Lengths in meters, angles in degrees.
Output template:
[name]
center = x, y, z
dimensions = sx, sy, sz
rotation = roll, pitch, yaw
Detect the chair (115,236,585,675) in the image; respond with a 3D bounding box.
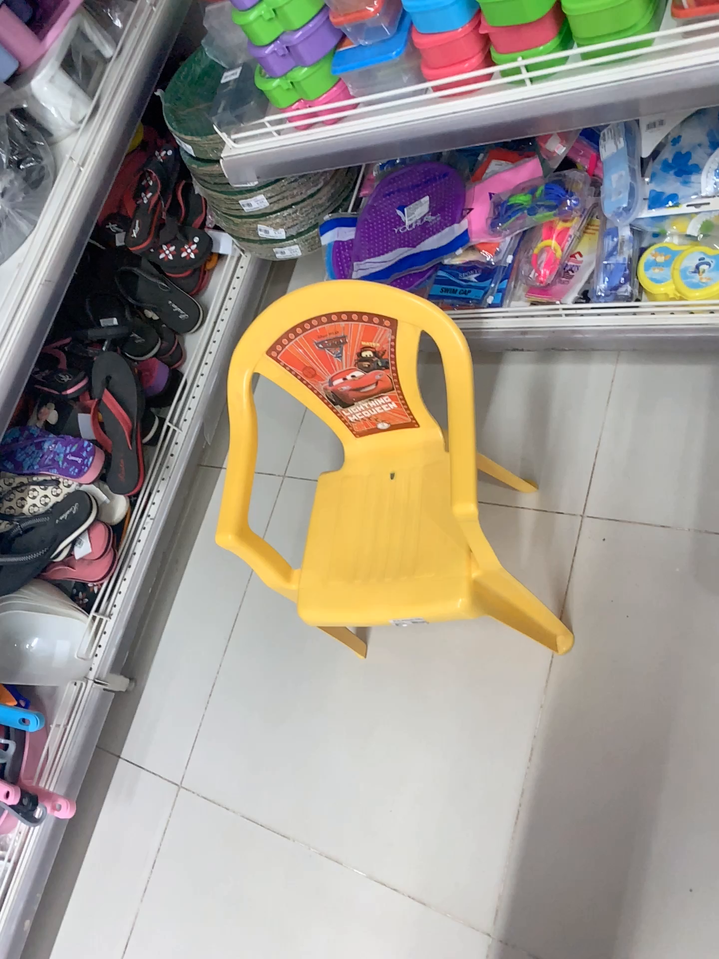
[chair]
center = 0.034, 0.034, 0.981
dimensions = 0.391, 0.498, 0.370
rotation = -9, 64, 28
